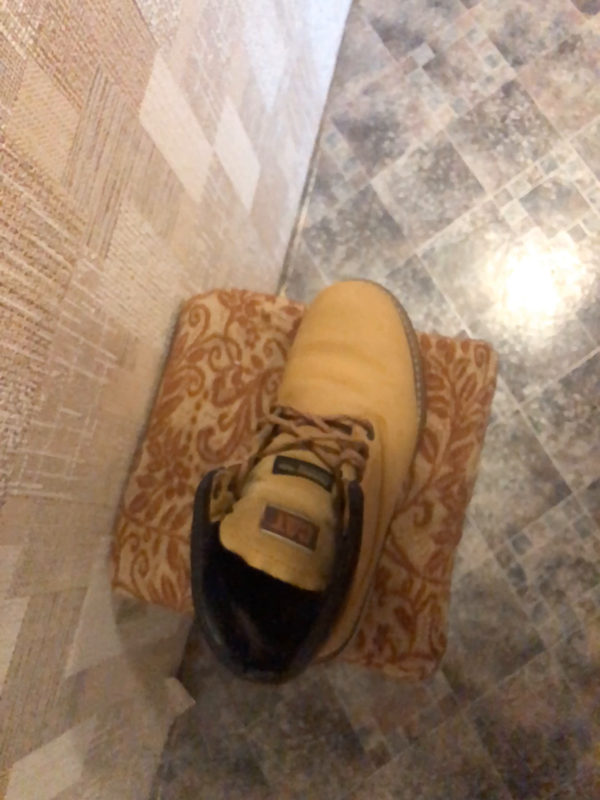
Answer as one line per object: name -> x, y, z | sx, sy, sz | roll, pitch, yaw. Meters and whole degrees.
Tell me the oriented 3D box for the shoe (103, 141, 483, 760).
shoe -> 0.014, 0.028, 0.451 | 0.140, 0.190, 0.310 | 11, 81, 11
